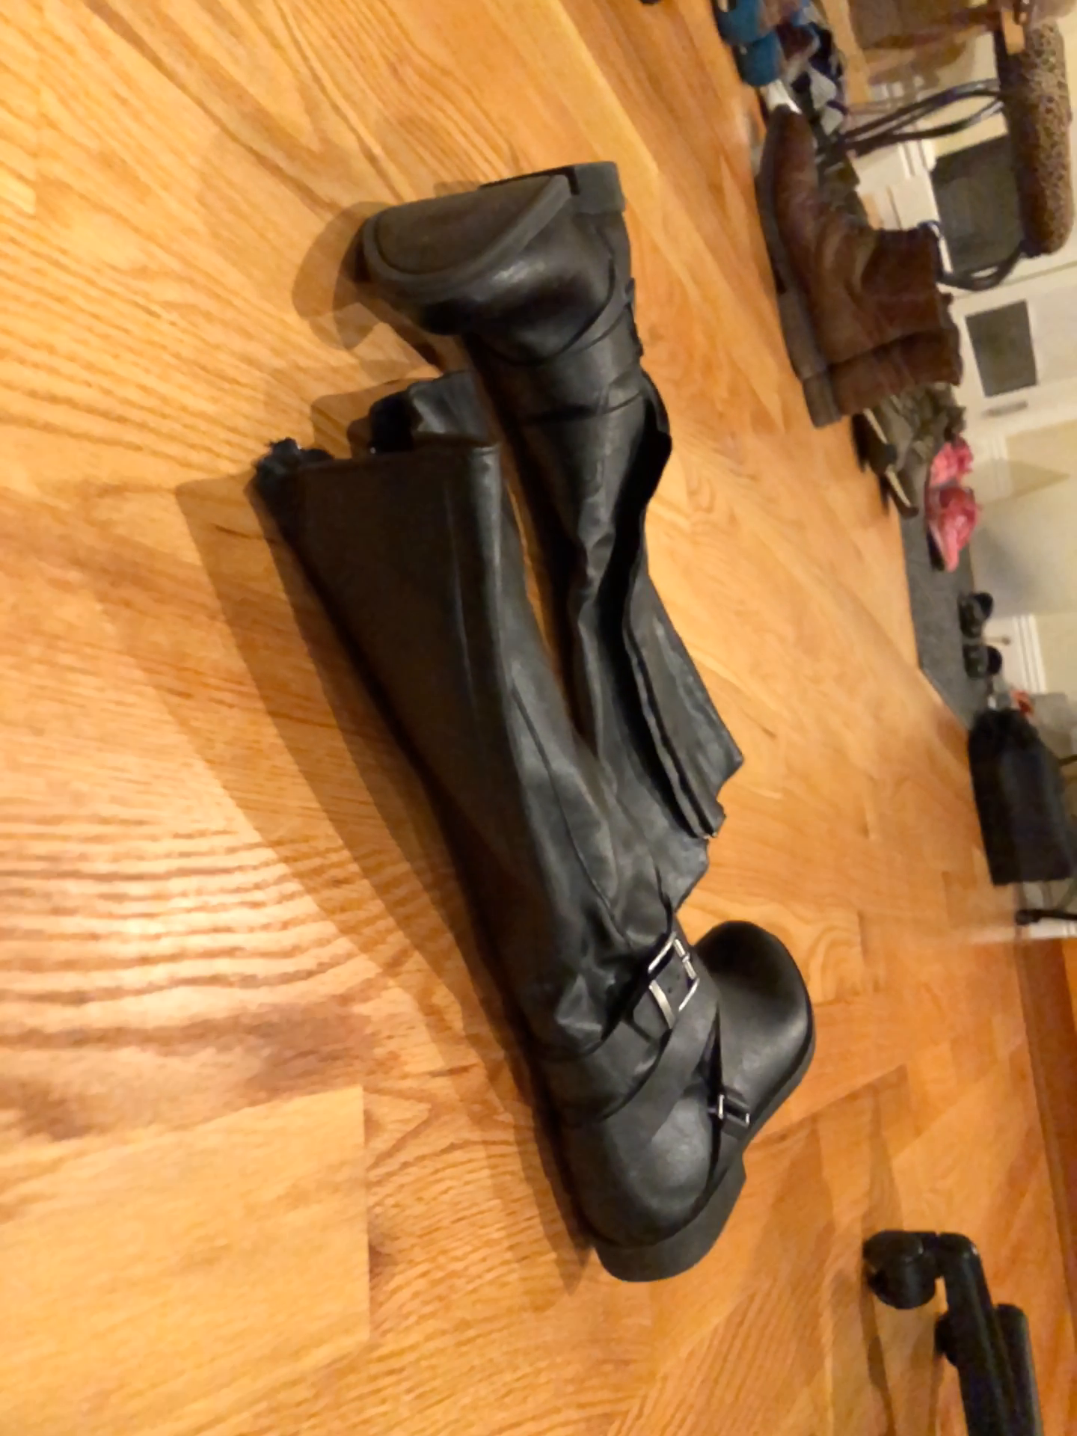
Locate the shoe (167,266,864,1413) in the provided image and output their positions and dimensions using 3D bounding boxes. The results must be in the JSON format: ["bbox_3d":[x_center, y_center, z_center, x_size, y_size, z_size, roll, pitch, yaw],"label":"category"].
[{"bbox_3d":[0.038,0.028,0.529,0.291,0.104,0.403,-49,126,-60],"label":"shoe"}]

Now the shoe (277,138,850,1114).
[{"bbox_3d":[0.047,-0.052,0.578,0.251,0.094,0.393,-47,123,-60],"label":"shoe"}]
